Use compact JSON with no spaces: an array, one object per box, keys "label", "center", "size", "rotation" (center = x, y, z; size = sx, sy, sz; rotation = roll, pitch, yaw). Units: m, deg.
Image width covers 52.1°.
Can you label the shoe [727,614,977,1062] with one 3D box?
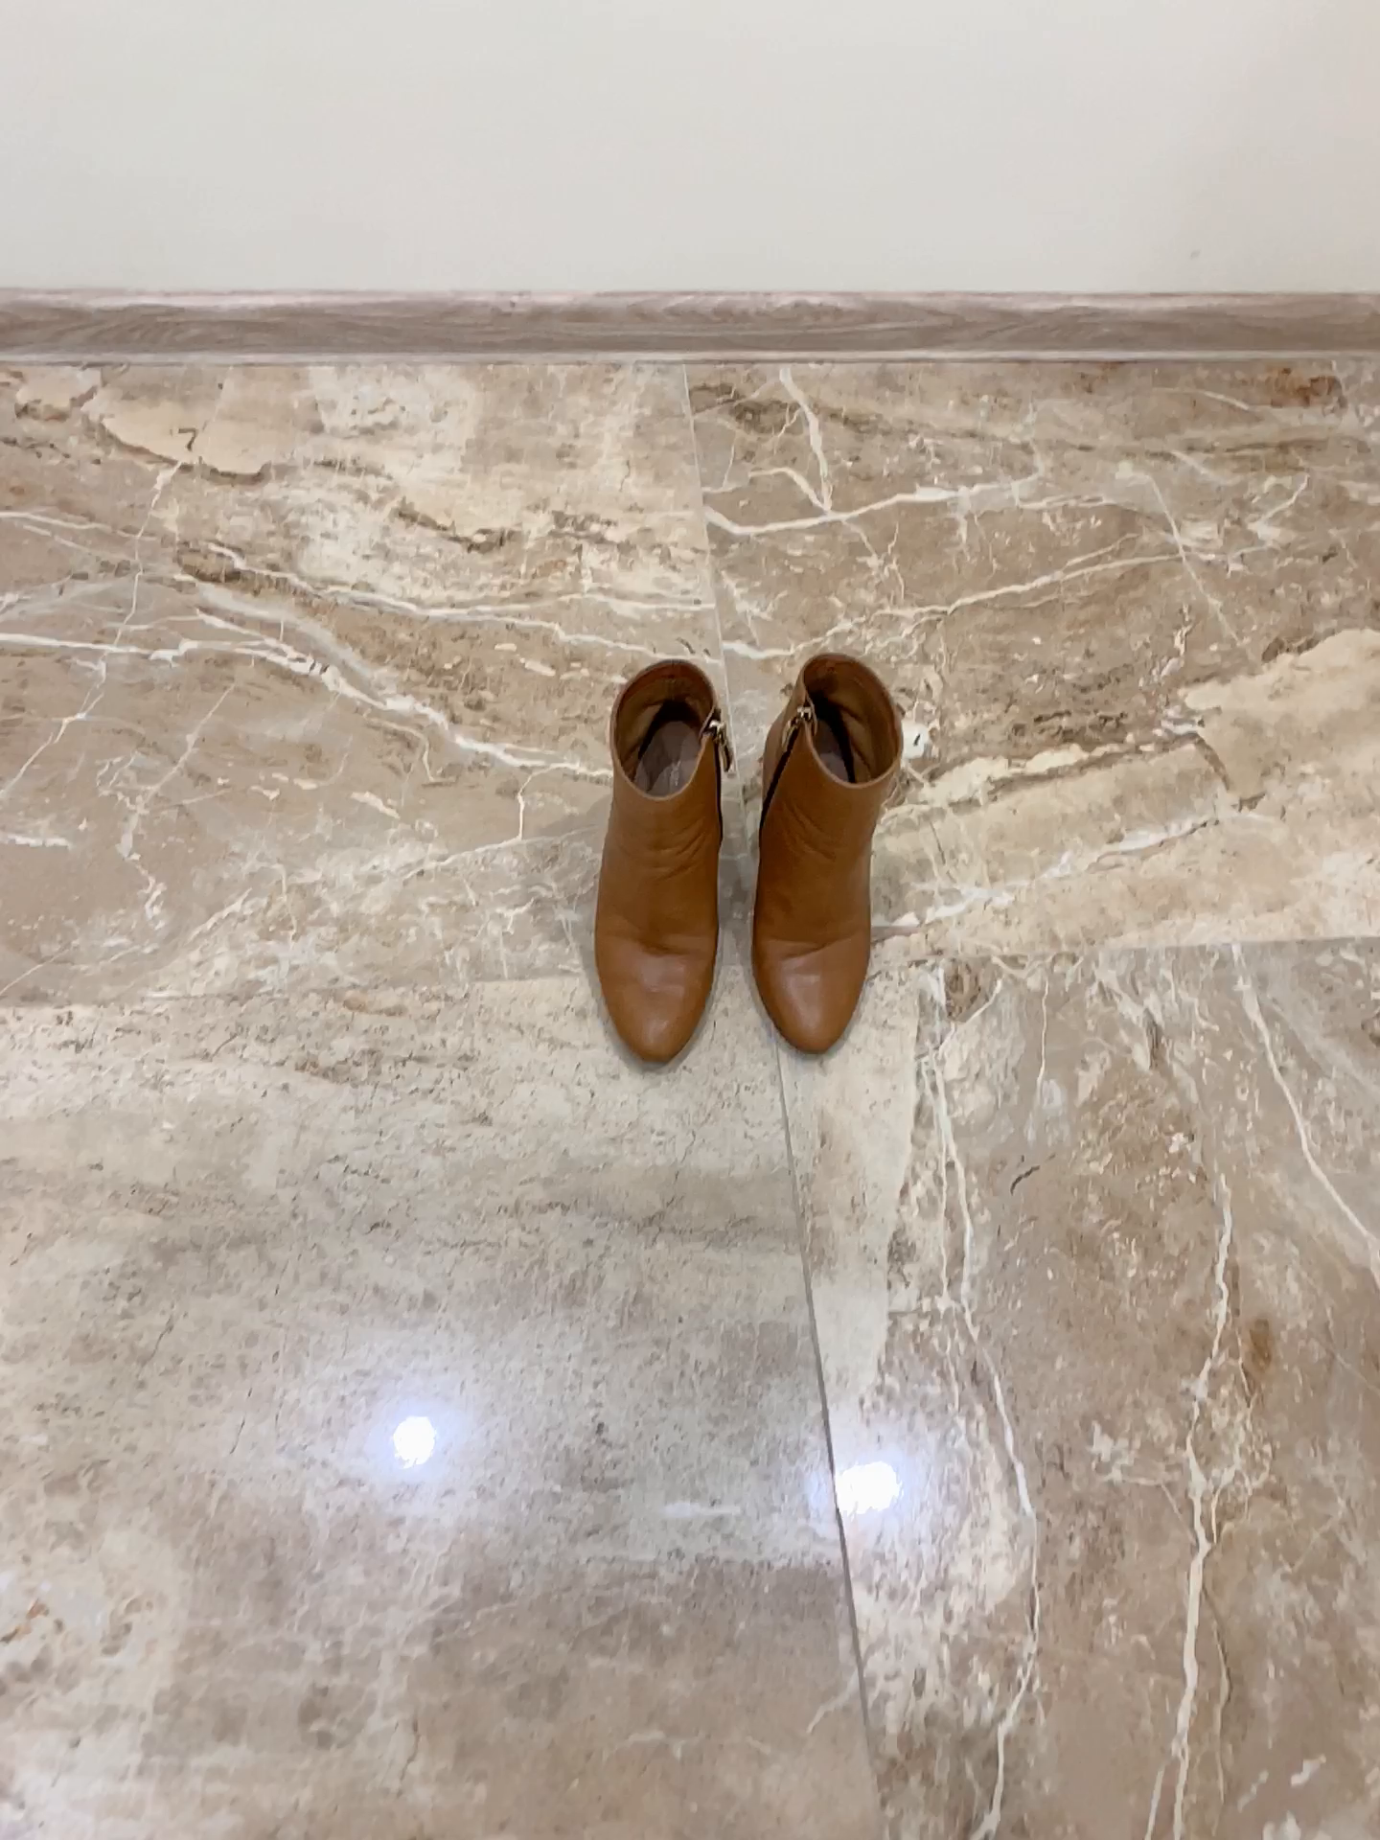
[{"label":"shoe","center":[0.089,-0.047,0.866],"size":[0.090,0.175,0.211],"rotation":[-3,62,-7]}]

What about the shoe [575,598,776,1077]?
[{"label":"shoe","center":[-0.011,-0.046,0.865],"size":[0.090,0.185,0.221],"rotation":[7,61,-2]}]
